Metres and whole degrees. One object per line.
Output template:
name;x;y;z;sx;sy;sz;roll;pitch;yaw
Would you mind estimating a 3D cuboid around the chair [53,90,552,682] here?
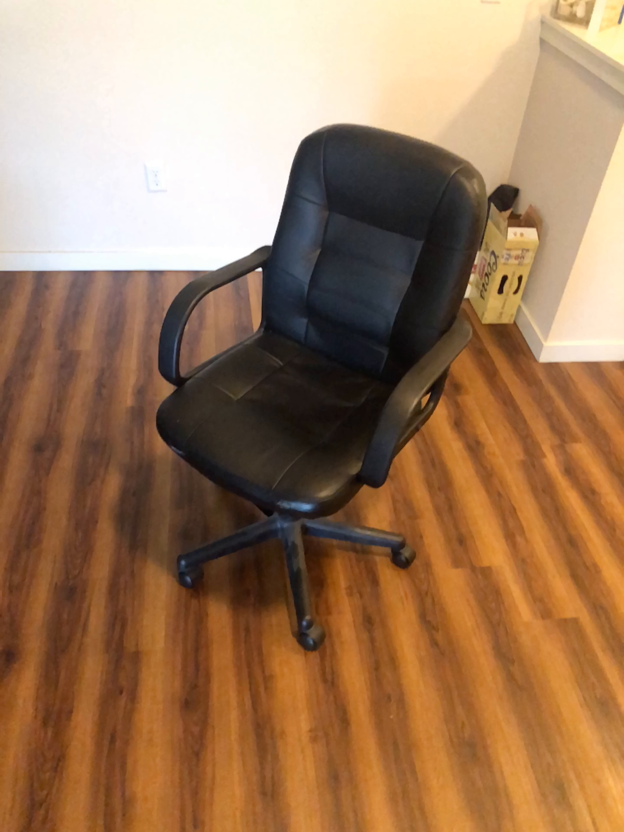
chair;-0.018;-0.079;1.596;0.663;1.012;0.670;26;45;23
